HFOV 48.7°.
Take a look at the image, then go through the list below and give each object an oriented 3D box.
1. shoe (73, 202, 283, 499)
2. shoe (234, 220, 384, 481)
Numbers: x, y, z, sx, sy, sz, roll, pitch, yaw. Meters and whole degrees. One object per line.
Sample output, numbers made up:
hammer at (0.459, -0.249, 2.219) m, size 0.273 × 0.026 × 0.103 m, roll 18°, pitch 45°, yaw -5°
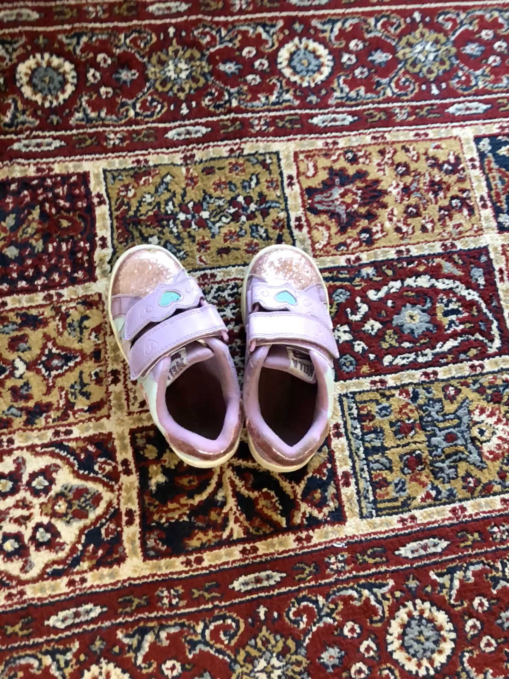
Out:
shoe at (-0.063, 0.011, 0.466) m, size 0.090 × 0.090 × 0.209 m, roll -20°, pitch 81°, yaw -9°
shoe at (0.038, 0.012, 0.473) m, size 0.100 × 0.090 × 0.200 m, roll -1°, pitch 78°, yaw -6°
